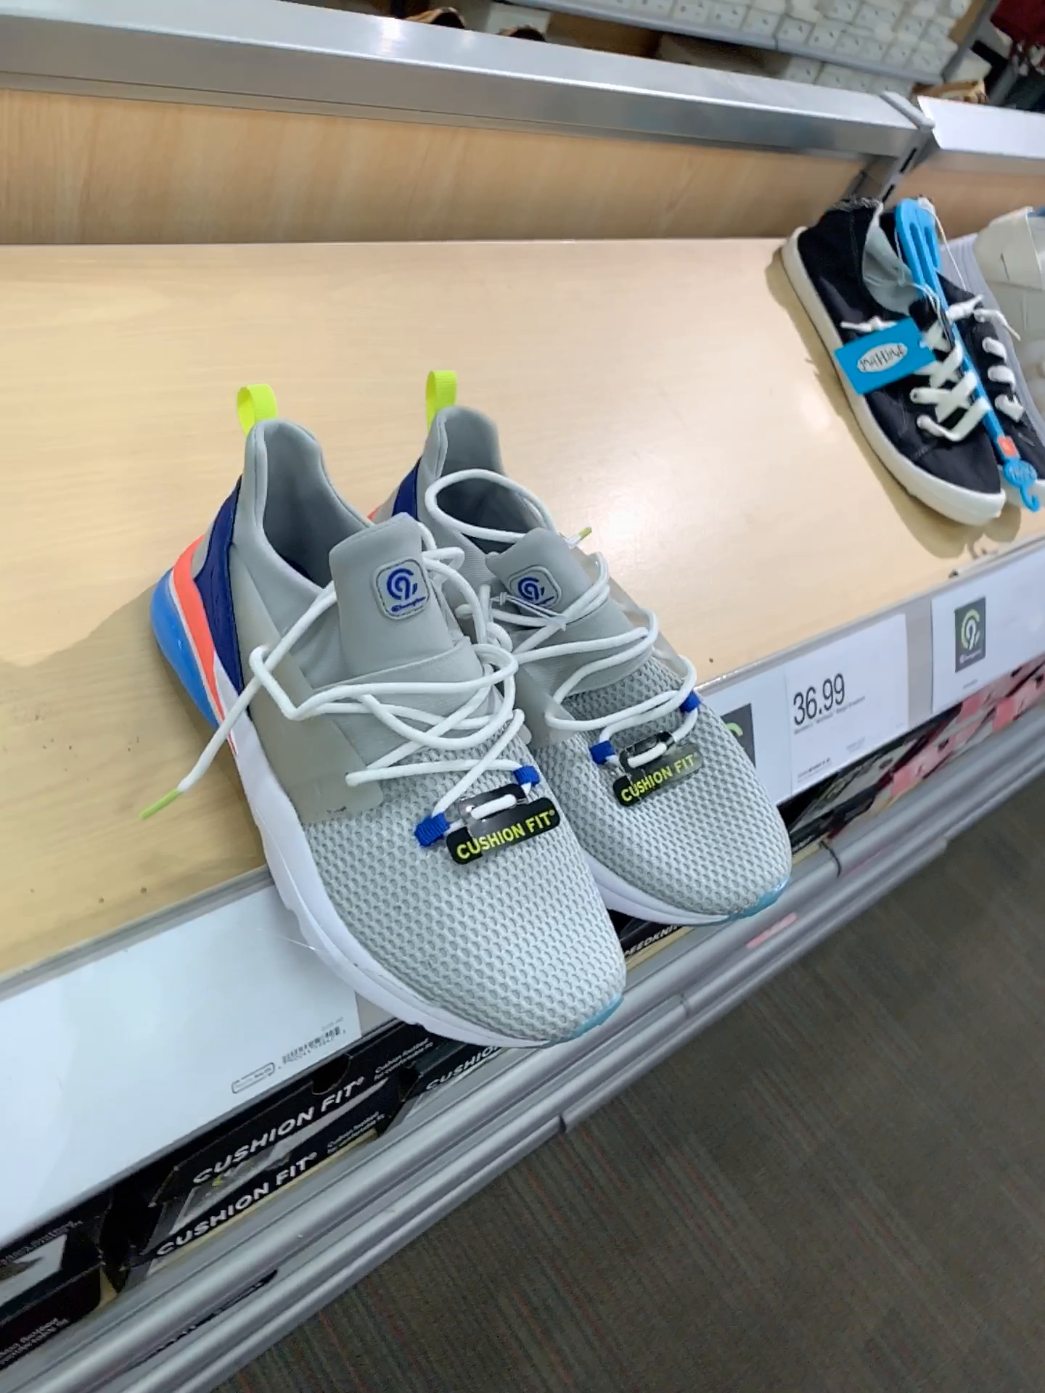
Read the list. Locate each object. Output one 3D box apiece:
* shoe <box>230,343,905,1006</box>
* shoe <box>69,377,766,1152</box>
[{"bbox_3d":[0.009,-0.023,0.456,0.110,0.090,0.270,-28,67,-42],"label":"shoe"},{"bbox_3d":[-0.054,0.006,0.403,0.110,0.090,0.270,-20,62,-39],"label":"shoe"}]
